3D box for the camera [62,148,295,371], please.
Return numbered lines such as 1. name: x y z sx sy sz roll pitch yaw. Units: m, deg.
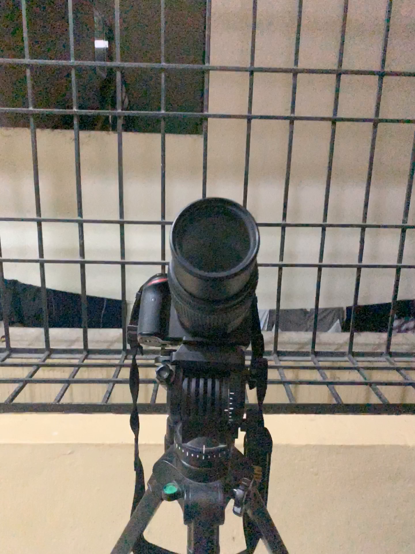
1. camera: -0.014 0.004 0.364 0.136 0.100 0.209 2 -25 2
